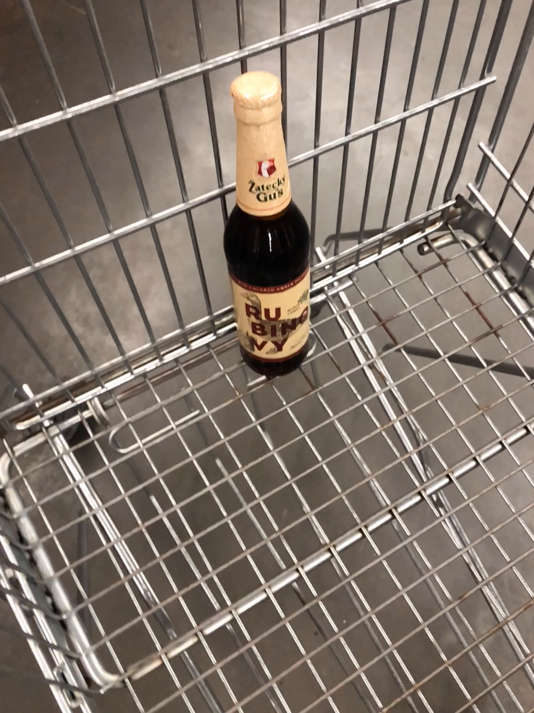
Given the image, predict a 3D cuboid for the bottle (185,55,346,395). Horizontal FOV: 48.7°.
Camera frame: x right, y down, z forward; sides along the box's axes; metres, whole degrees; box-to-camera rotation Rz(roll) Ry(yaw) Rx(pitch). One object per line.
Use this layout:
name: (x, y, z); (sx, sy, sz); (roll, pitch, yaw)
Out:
bottle: (0.003, -0.079, 0.440); (0.080, 0.239, 0.080); (-2, 52, 2)
